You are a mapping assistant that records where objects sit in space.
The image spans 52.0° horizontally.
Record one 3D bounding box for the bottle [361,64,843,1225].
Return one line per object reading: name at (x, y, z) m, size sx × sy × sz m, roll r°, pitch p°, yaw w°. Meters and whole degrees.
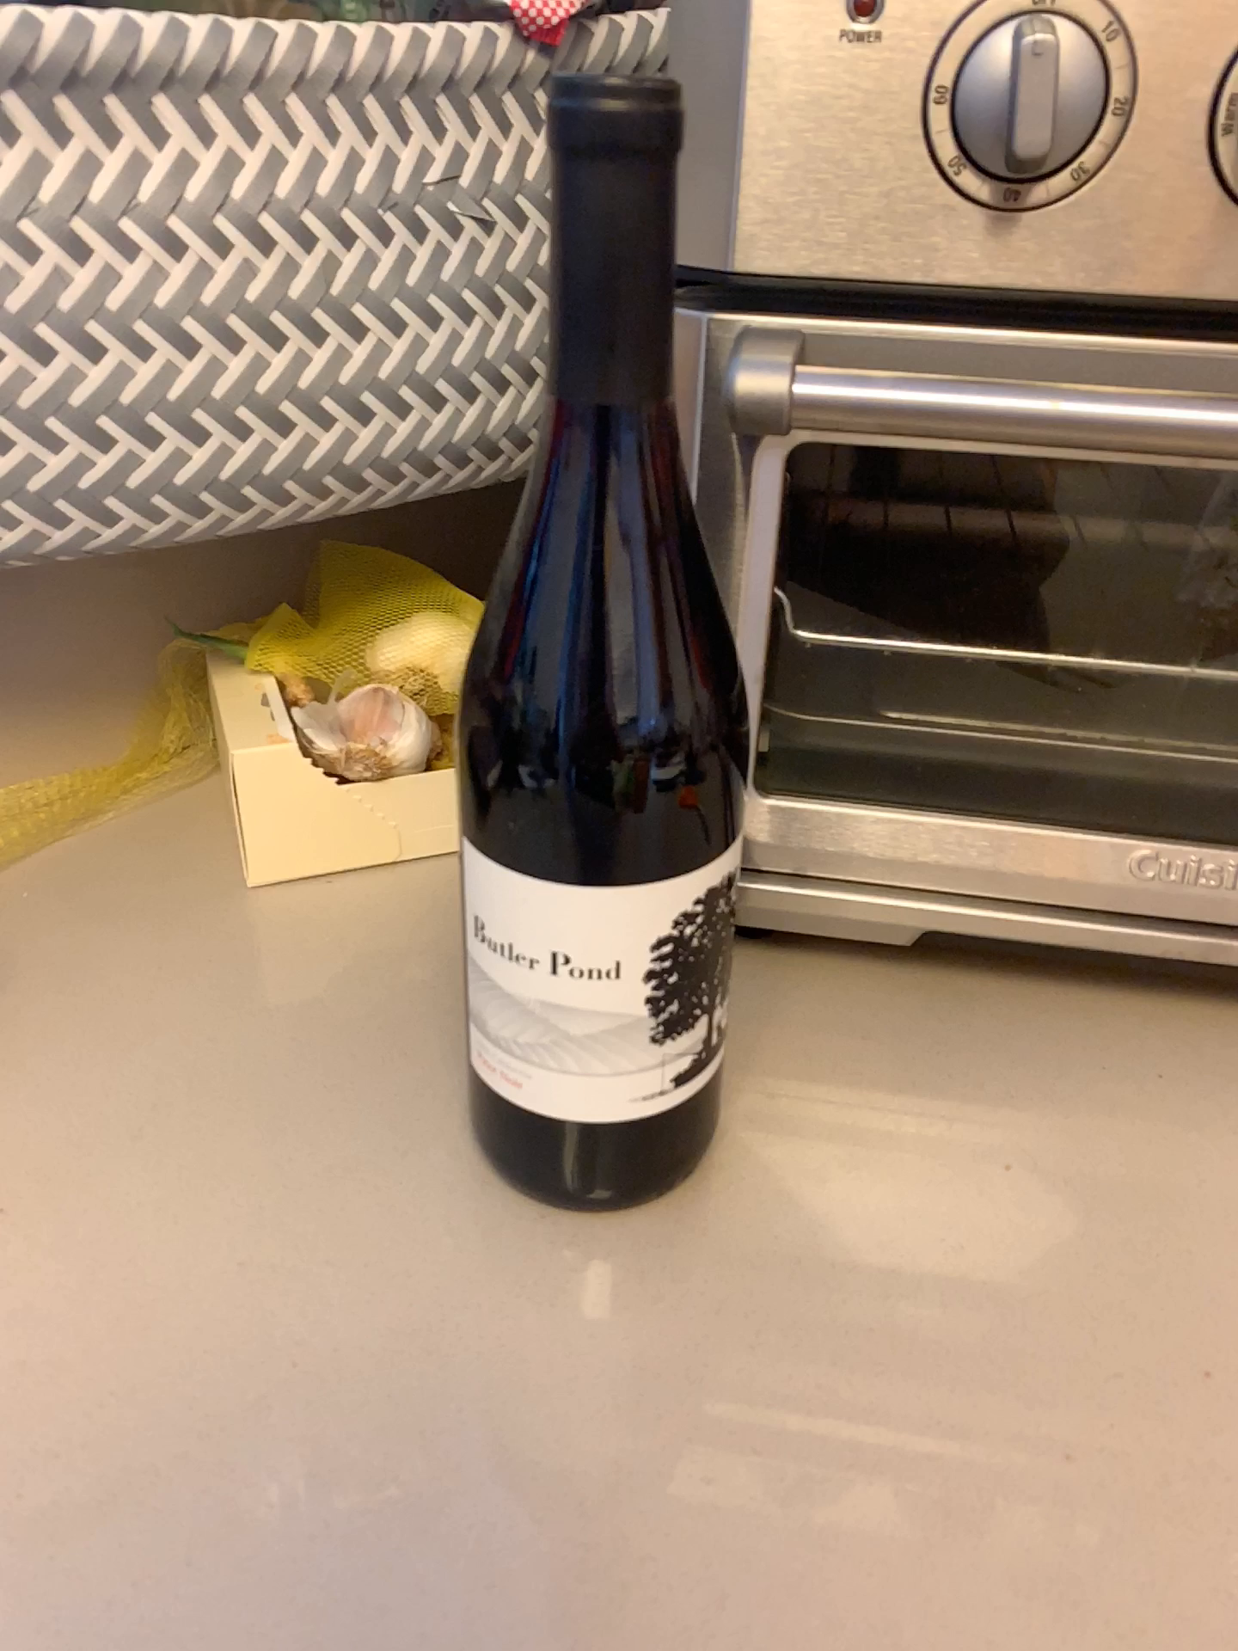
bottle at (-0.005, -0.027, 0.308) m, size 0.080 × 0.268 × 0.070 m, roll 2°, pitch 30°, yaw 1°
